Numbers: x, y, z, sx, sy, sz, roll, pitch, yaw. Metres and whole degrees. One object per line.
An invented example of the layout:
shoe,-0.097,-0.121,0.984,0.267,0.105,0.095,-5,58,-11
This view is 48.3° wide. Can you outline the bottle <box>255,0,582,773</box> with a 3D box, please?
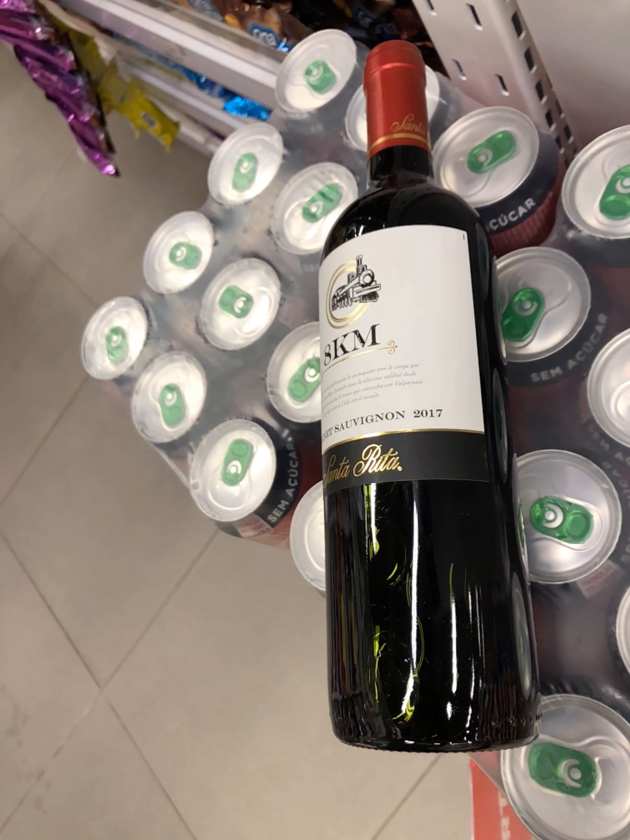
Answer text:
bottle,0.032,-0.045,0.278,0.080,0.070,0.321,-12,69,27
